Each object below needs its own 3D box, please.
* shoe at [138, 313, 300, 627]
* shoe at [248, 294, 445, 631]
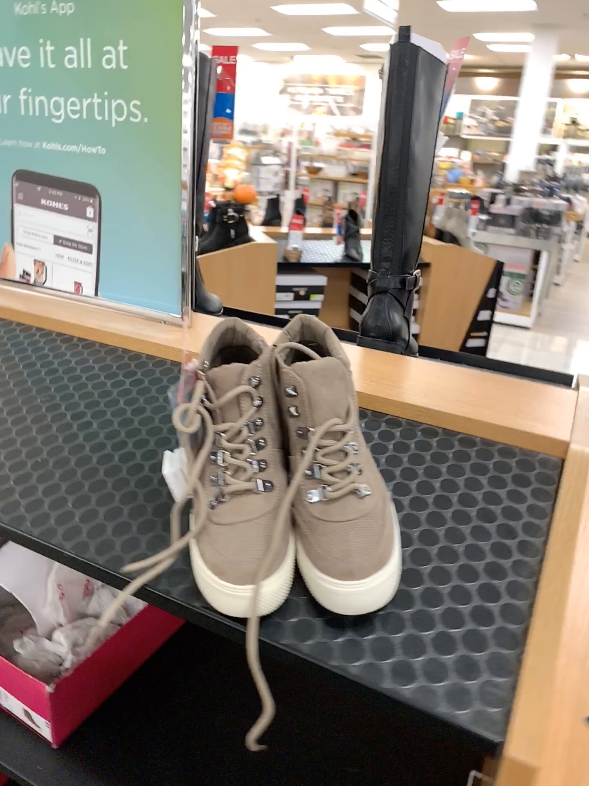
[{"bbox_3d":[-0.058,0.047,0.545,0.100,0.160,0.261,-4,25,-3],"label":"shoe"},{"bbox_3d":[0.026,0.034,0.540,0.100,0.160,0.291,-6,26,-7],"label":"shoe"}]
